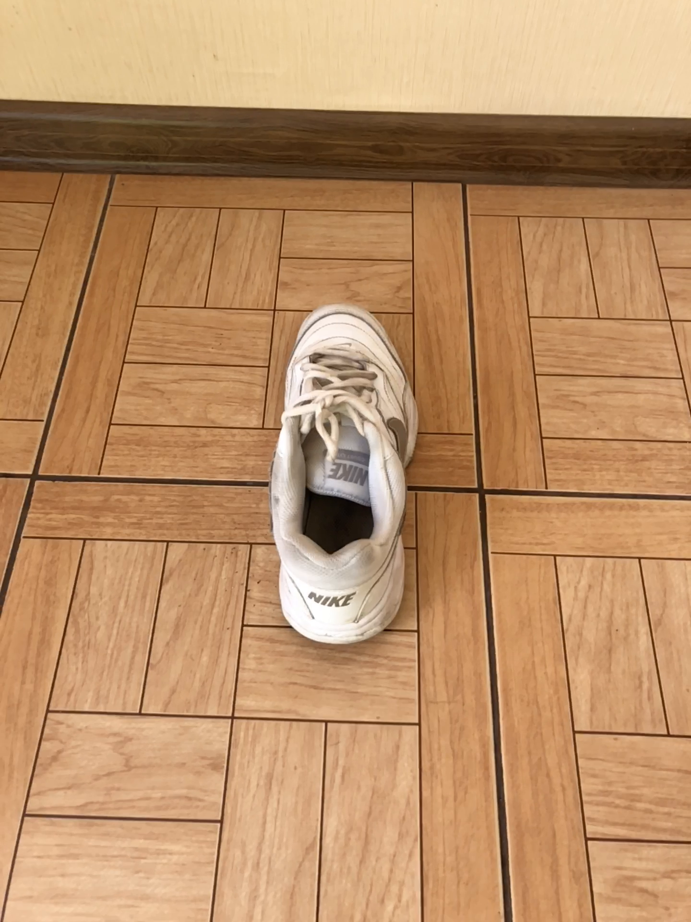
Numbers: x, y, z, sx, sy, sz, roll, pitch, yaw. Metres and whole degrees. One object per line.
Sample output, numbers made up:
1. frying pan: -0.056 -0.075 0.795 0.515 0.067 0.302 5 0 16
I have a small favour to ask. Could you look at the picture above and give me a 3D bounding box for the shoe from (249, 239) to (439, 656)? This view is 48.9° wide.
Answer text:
1. shoe: 0.002 -0.014 0.505 0.100 0.100 0.260 1 61 1
